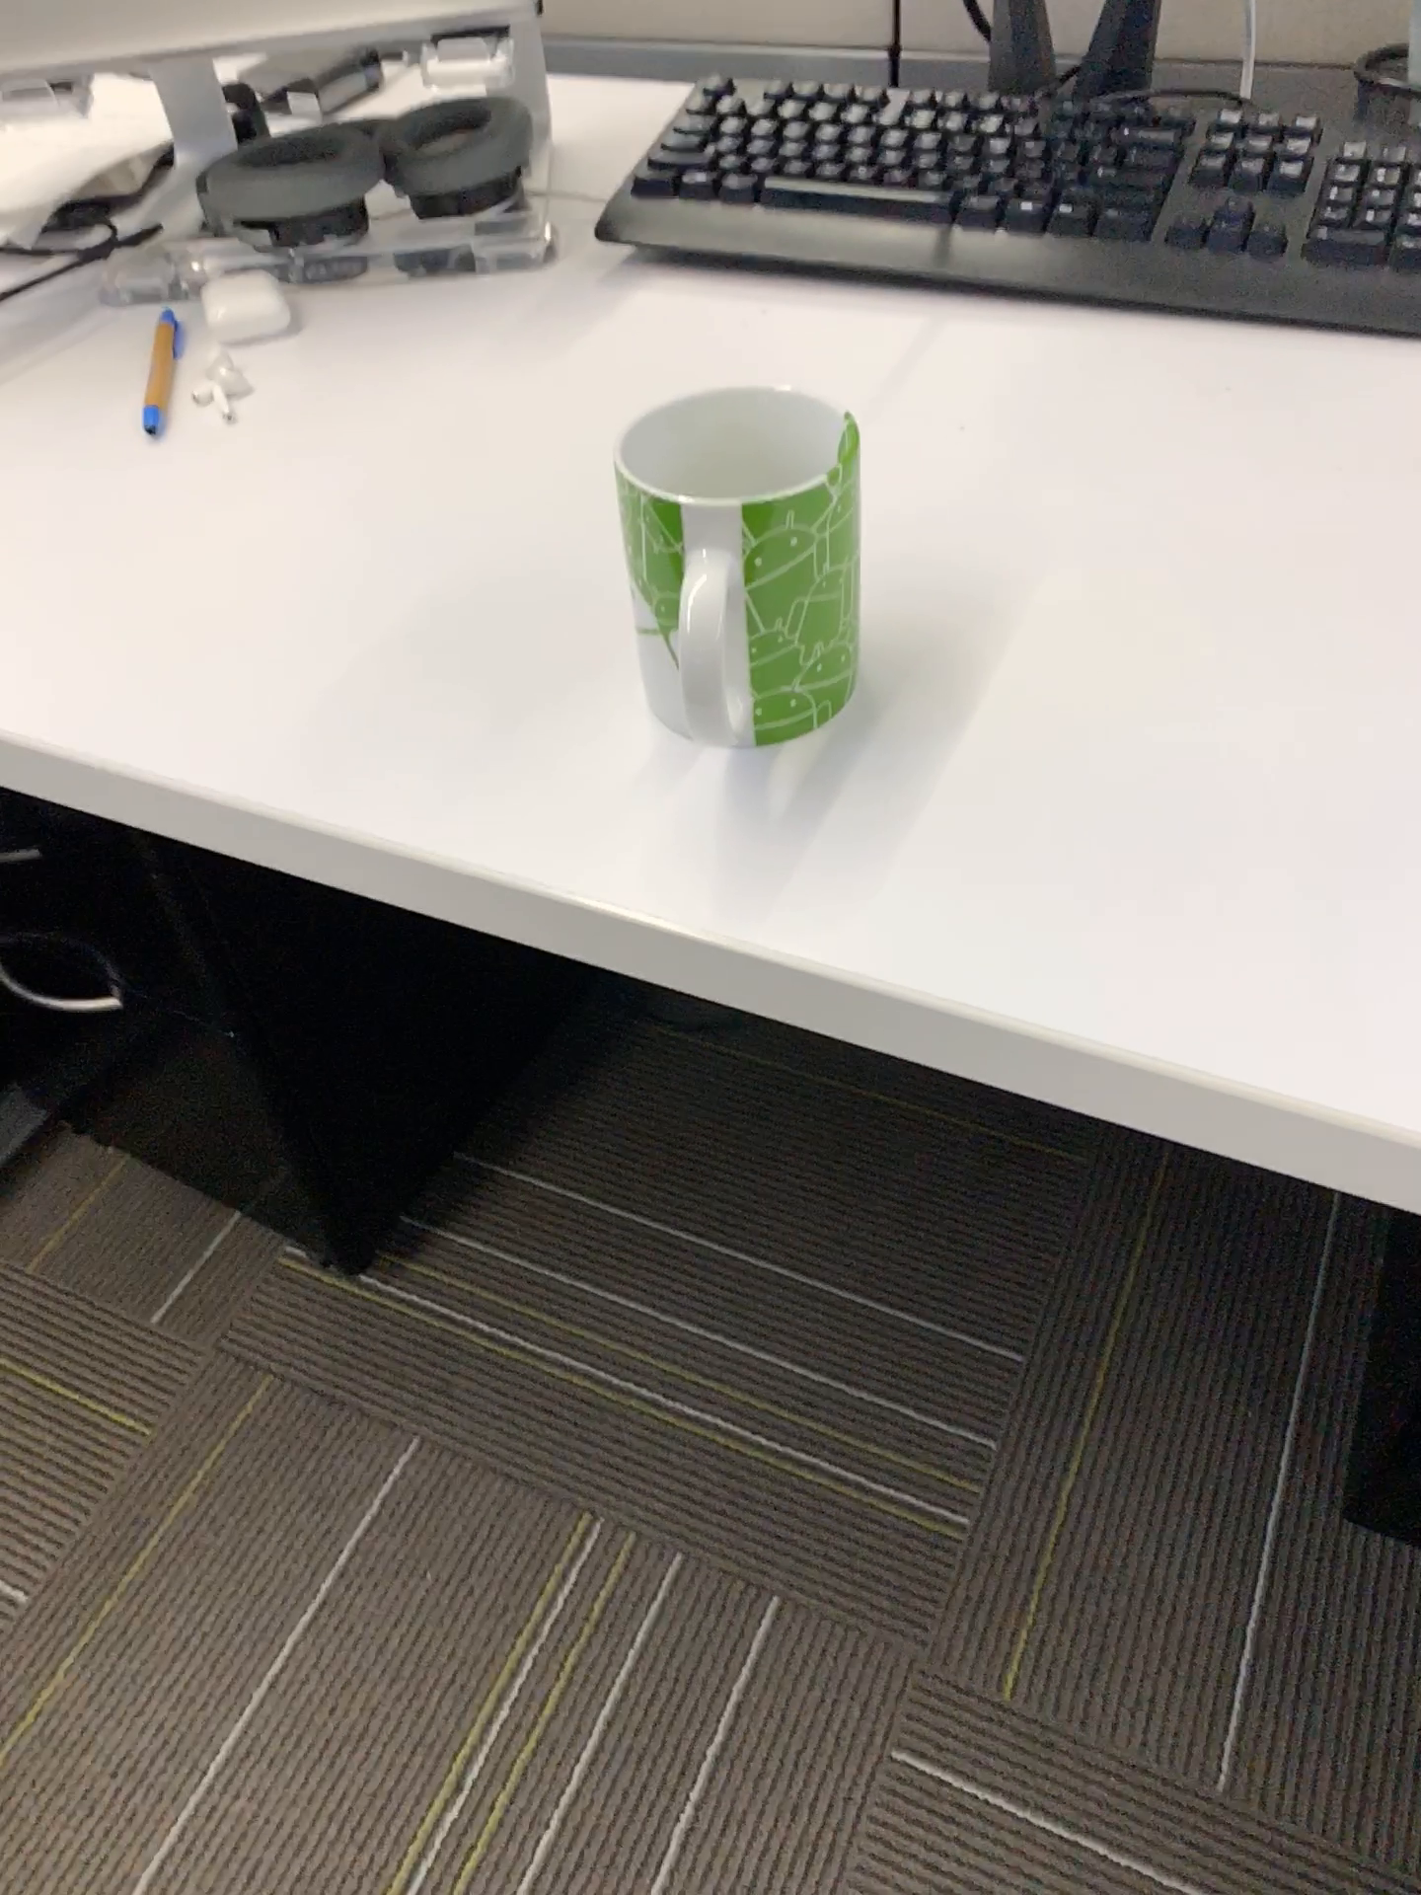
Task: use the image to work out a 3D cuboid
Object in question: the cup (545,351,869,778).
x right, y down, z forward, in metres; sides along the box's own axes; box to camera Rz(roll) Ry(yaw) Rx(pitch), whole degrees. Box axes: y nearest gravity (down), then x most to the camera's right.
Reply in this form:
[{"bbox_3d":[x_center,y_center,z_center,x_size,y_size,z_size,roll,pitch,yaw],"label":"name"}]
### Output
[{"bbox_3d":[0.004,-0.126,0.474,0.090,0.080,0.121,-1,46,5],"label":"cup"}]
